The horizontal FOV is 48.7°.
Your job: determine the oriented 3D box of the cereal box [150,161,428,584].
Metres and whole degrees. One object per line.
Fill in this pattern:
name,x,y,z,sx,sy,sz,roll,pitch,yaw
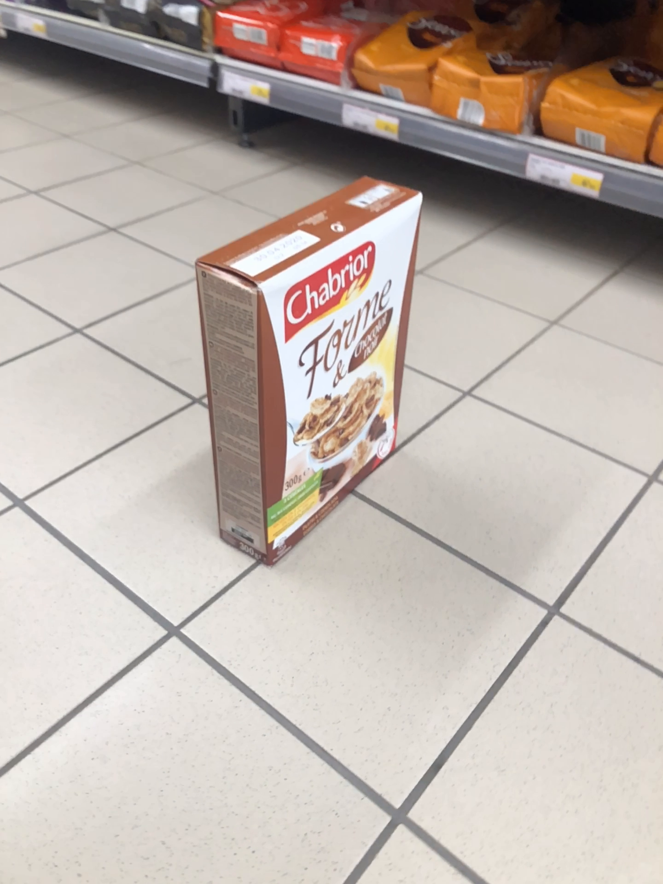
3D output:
cereal box,-0.022,-0.056,0.562,0.070,0.248,0.211,25,43,25
